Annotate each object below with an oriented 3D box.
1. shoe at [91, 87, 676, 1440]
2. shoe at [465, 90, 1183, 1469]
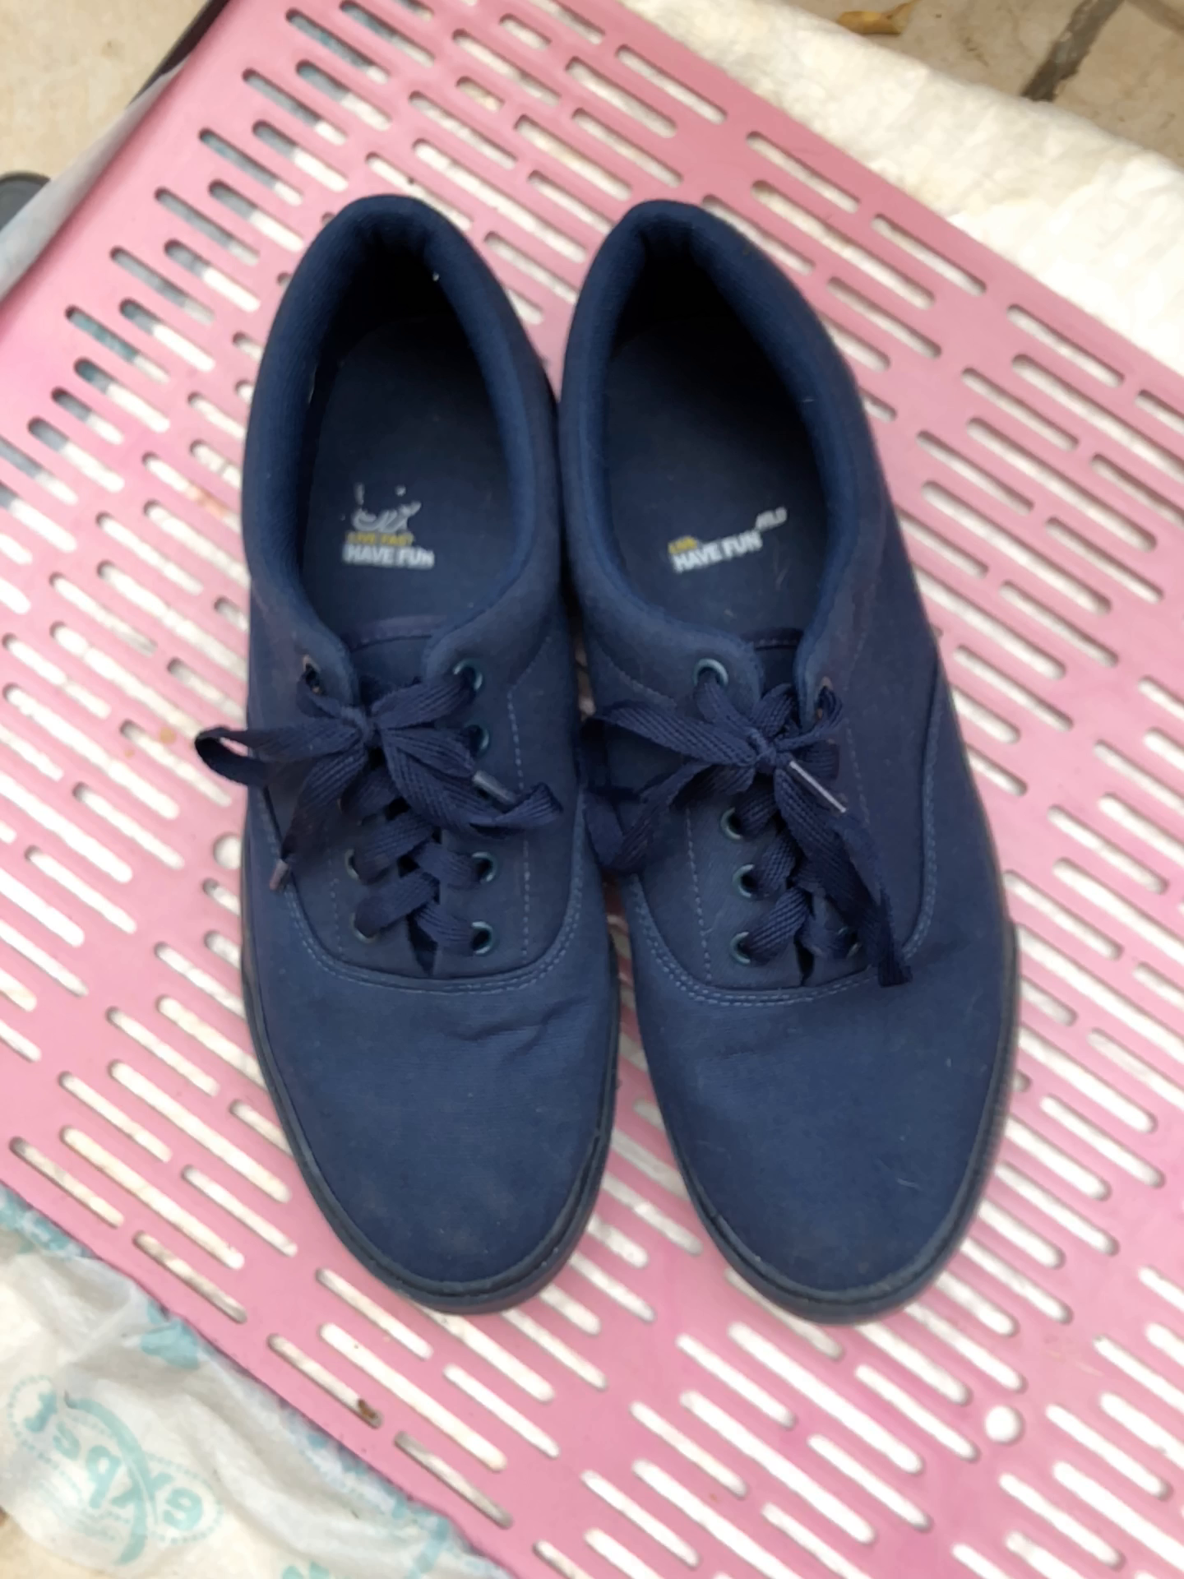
[{"bbox_3d":[-0.044,-0.006,0.318,0.107,0.100,0.270,-4,85,2],"label":"shoe"},{"bbox_3d":[0.050,-0.004,0.321,0.107,0.100,0.270,-10,84,1],"label":"shoe"}]
